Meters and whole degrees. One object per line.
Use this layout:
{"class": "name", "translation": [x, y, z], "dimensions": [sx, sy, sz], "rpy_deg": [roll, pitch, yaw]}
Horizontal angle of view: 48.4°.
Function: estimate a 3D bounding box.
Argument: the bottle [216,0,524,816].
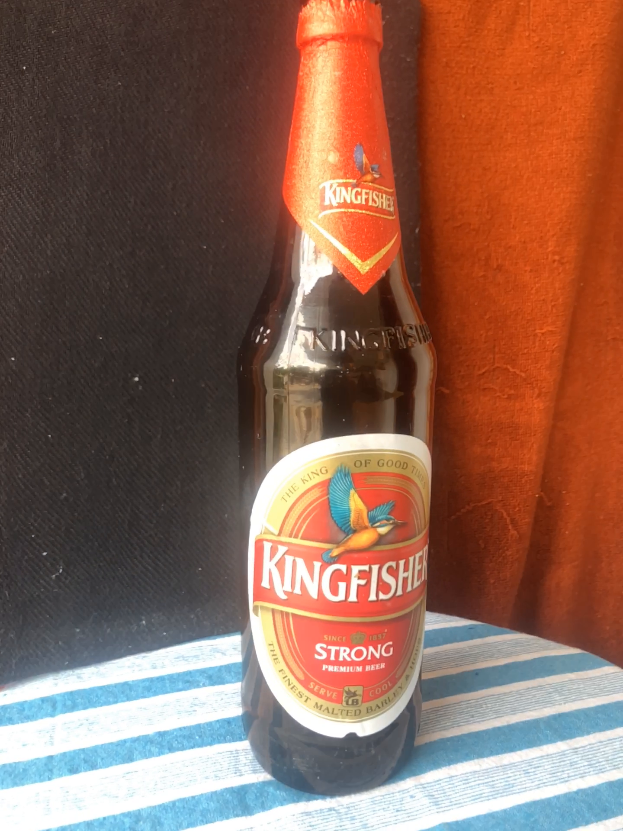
{"class": "bottle", "translation": [0.010, -0.006, 0.260], "dimensions": [0.080, 0.289, 0.070], "rpy_deg": [-1, 13, -14]}
